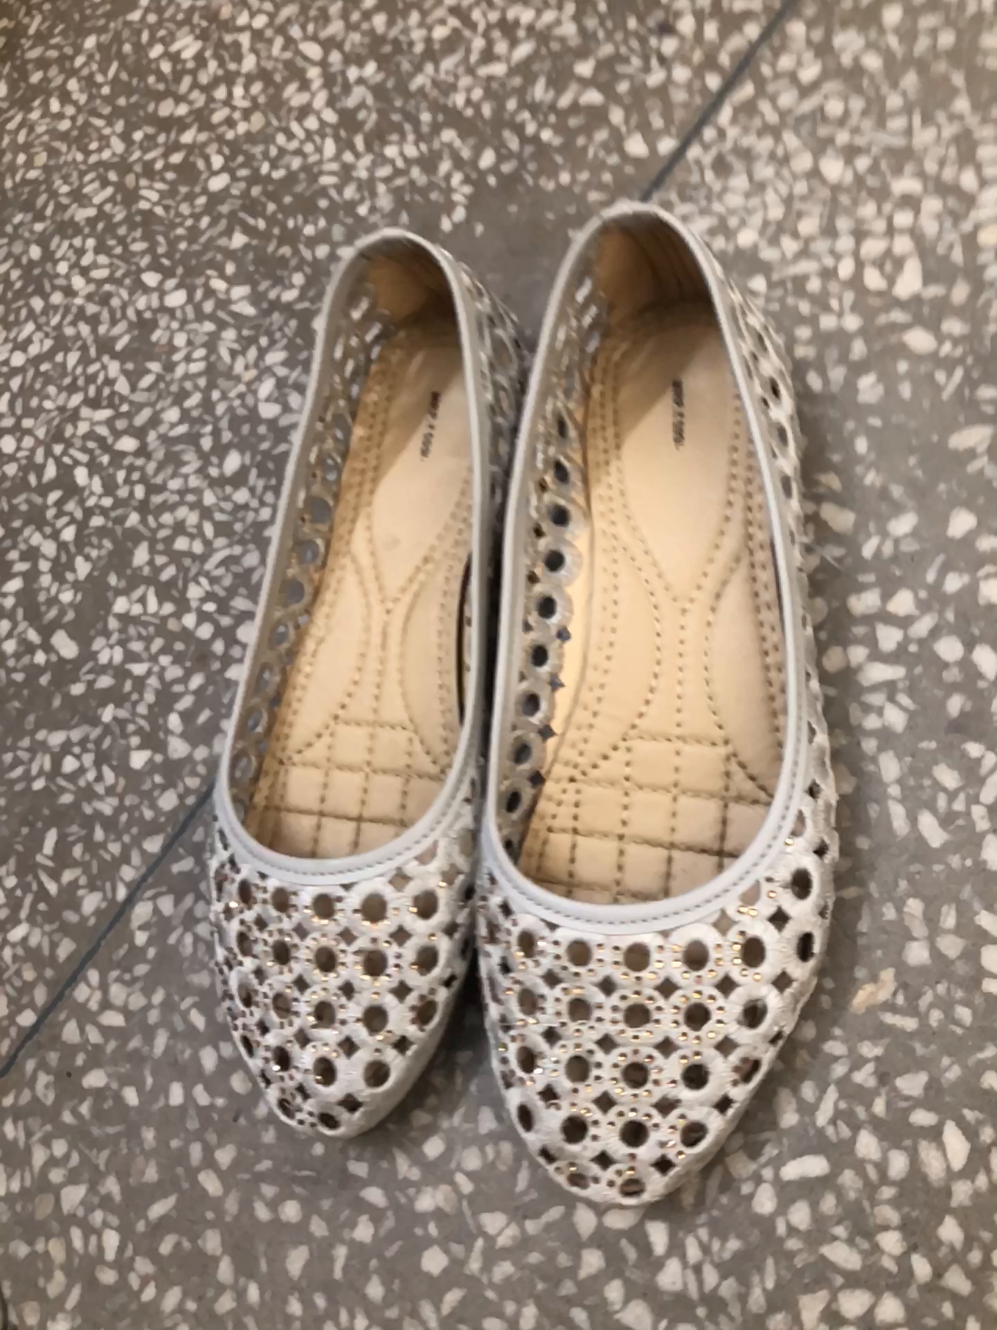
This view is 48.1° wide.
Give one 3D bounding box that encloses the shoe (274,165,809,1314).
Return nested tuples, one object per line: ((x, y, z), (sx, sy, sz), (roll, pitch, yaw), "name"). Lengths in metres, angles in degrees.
((0.021, 0.009, 0.277), (0.093, 0.070, 0.240), (1, 75, 21), "shoe")

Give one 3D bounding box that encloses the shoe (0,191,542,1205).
((-0.055, 0.003, 0.304), (0.093, 0.070, 0.240), (1, 75, 21), "shoe")
